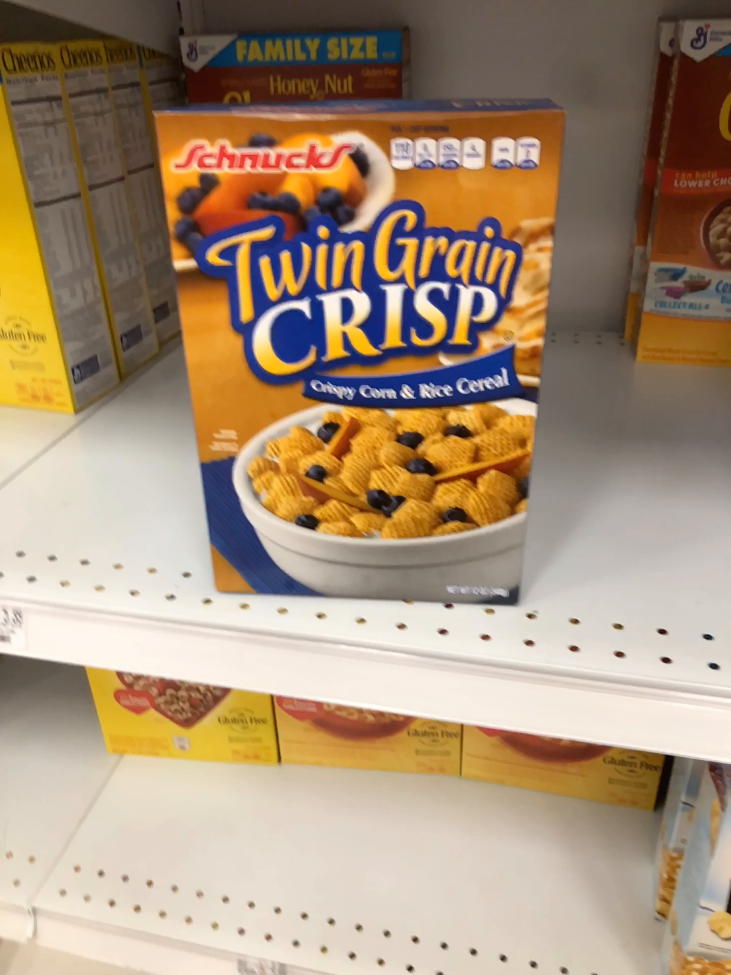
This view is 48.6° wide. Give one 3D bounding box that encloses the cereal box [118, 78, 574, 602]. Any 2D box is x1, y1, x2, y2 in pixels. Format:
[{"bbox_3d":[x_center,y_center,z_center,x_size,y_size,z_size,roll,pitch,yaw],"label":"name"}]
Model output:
[{"bbox_3d":[-0.006,-0.073,0.474,0.210,0.289,0.070,1,30,5],"label":"cereal box"}]
